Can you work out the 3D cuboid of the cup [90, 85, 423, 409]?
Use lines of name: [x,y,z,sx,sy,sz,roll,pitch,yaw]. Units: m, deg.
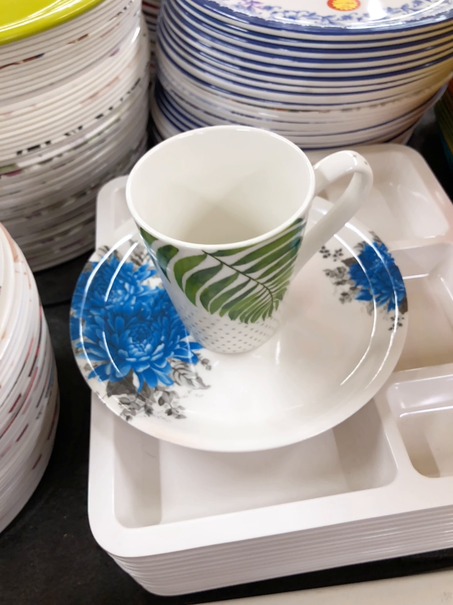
cup: [0.015,-0.030,0.255,0.120,0.089,0.080,-31,57,-20]
